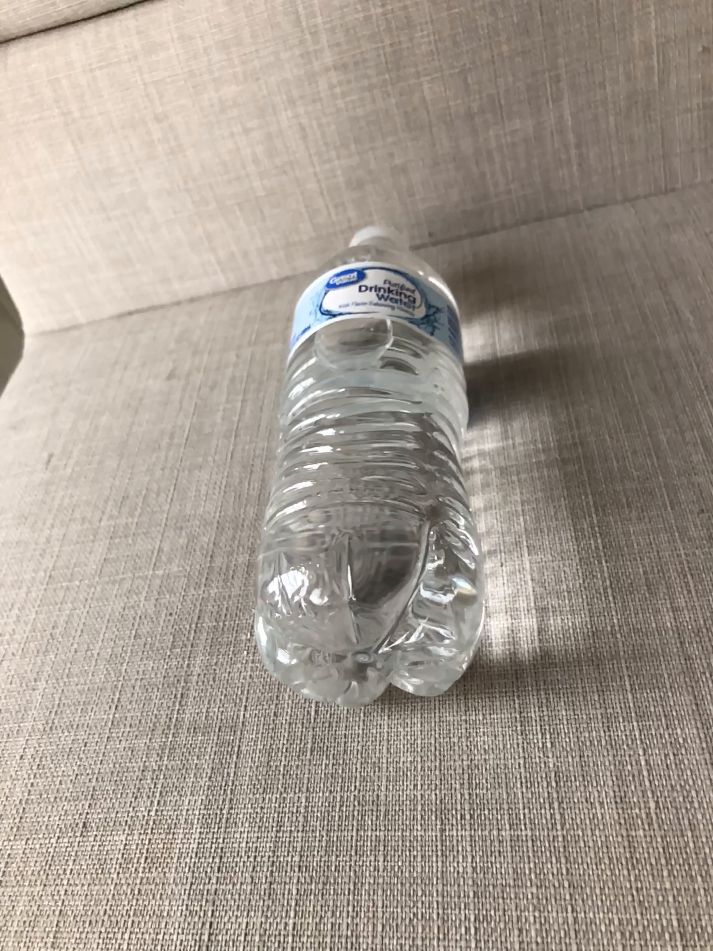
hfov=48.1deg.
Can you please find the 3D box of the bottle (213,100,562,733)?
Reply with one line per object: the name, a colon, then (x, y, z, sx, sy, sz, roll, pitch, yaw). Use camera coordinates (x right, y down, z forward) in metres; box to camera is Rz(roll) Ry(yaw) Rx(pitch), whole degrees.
bottle: (0.006, -0.039, 0.288, 0.070, 0.079, 0.232, 12, 46, -11)
